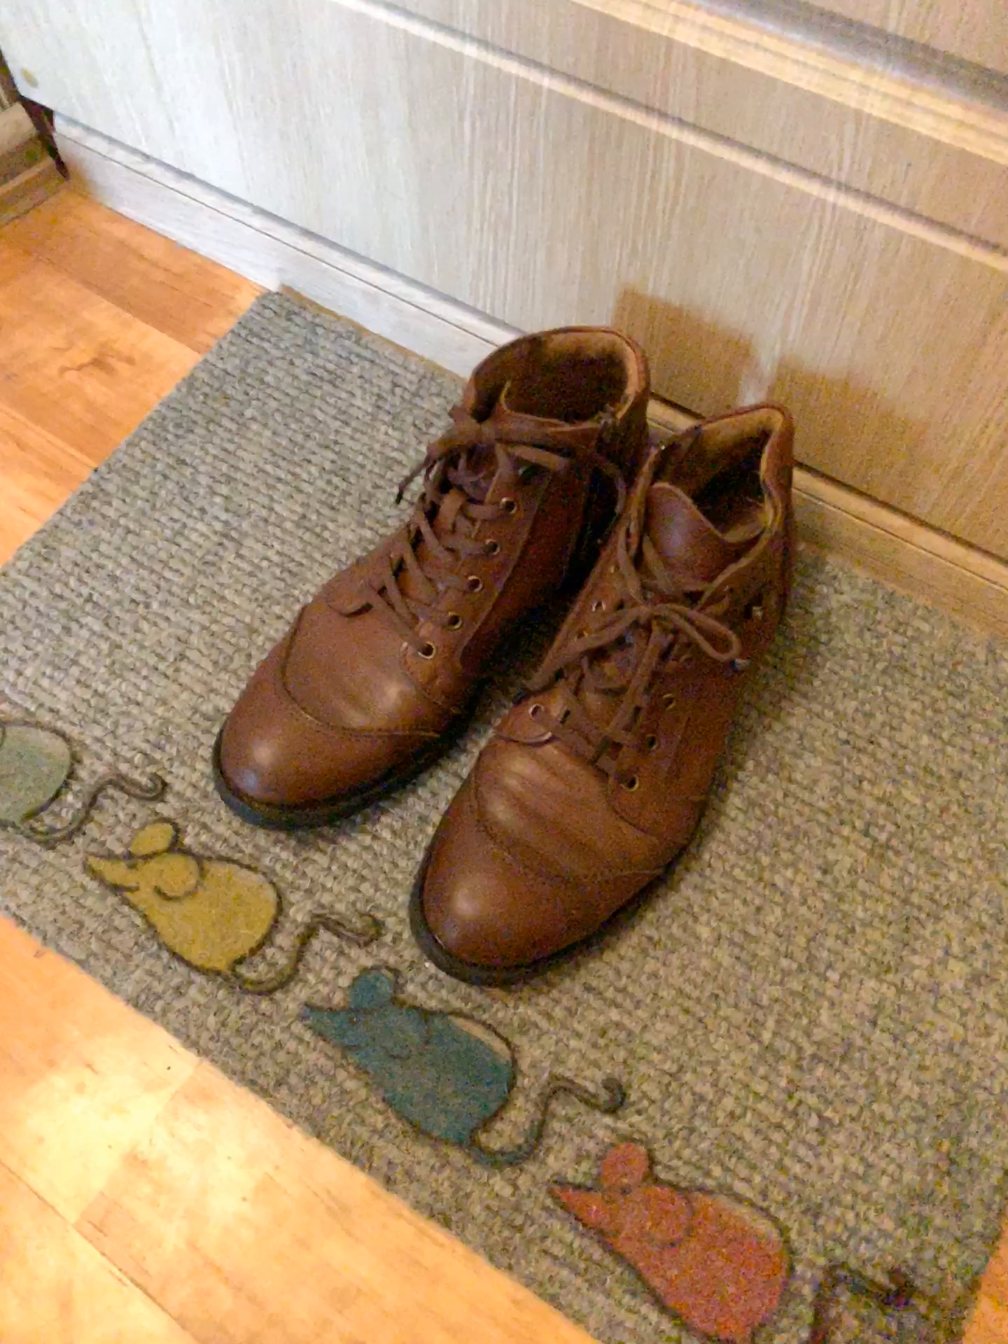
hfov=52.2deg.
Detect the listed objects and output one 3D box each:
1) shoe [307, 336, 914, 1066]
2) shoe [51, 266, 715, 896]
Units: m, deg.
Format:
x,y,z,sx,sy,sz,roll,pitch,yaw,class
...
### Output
x,y,z,sx,sy,sz,roll,pitch,yaw,class
0.051,0.011,0.450,0.110,0.140,0.270,29,66,14,shoe
-0.042,-0.042,0.480,0.260,0.140,0.110,-40,70,-19,shoe
